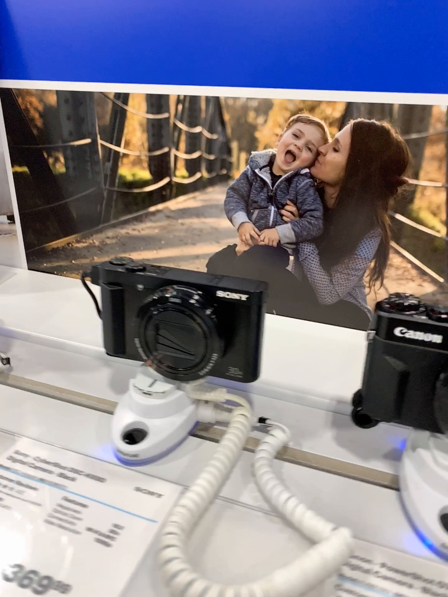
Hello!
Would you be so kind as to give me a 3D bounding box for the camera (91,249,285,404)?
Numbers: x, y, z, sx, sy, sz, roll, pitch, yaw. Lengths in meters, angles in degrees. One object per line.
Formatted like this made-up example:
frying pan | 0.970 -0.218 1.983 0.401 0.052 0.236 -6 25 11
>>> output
camera | -0.023 0.014 0.282 0.110 0.070 0.030 10 23 18
